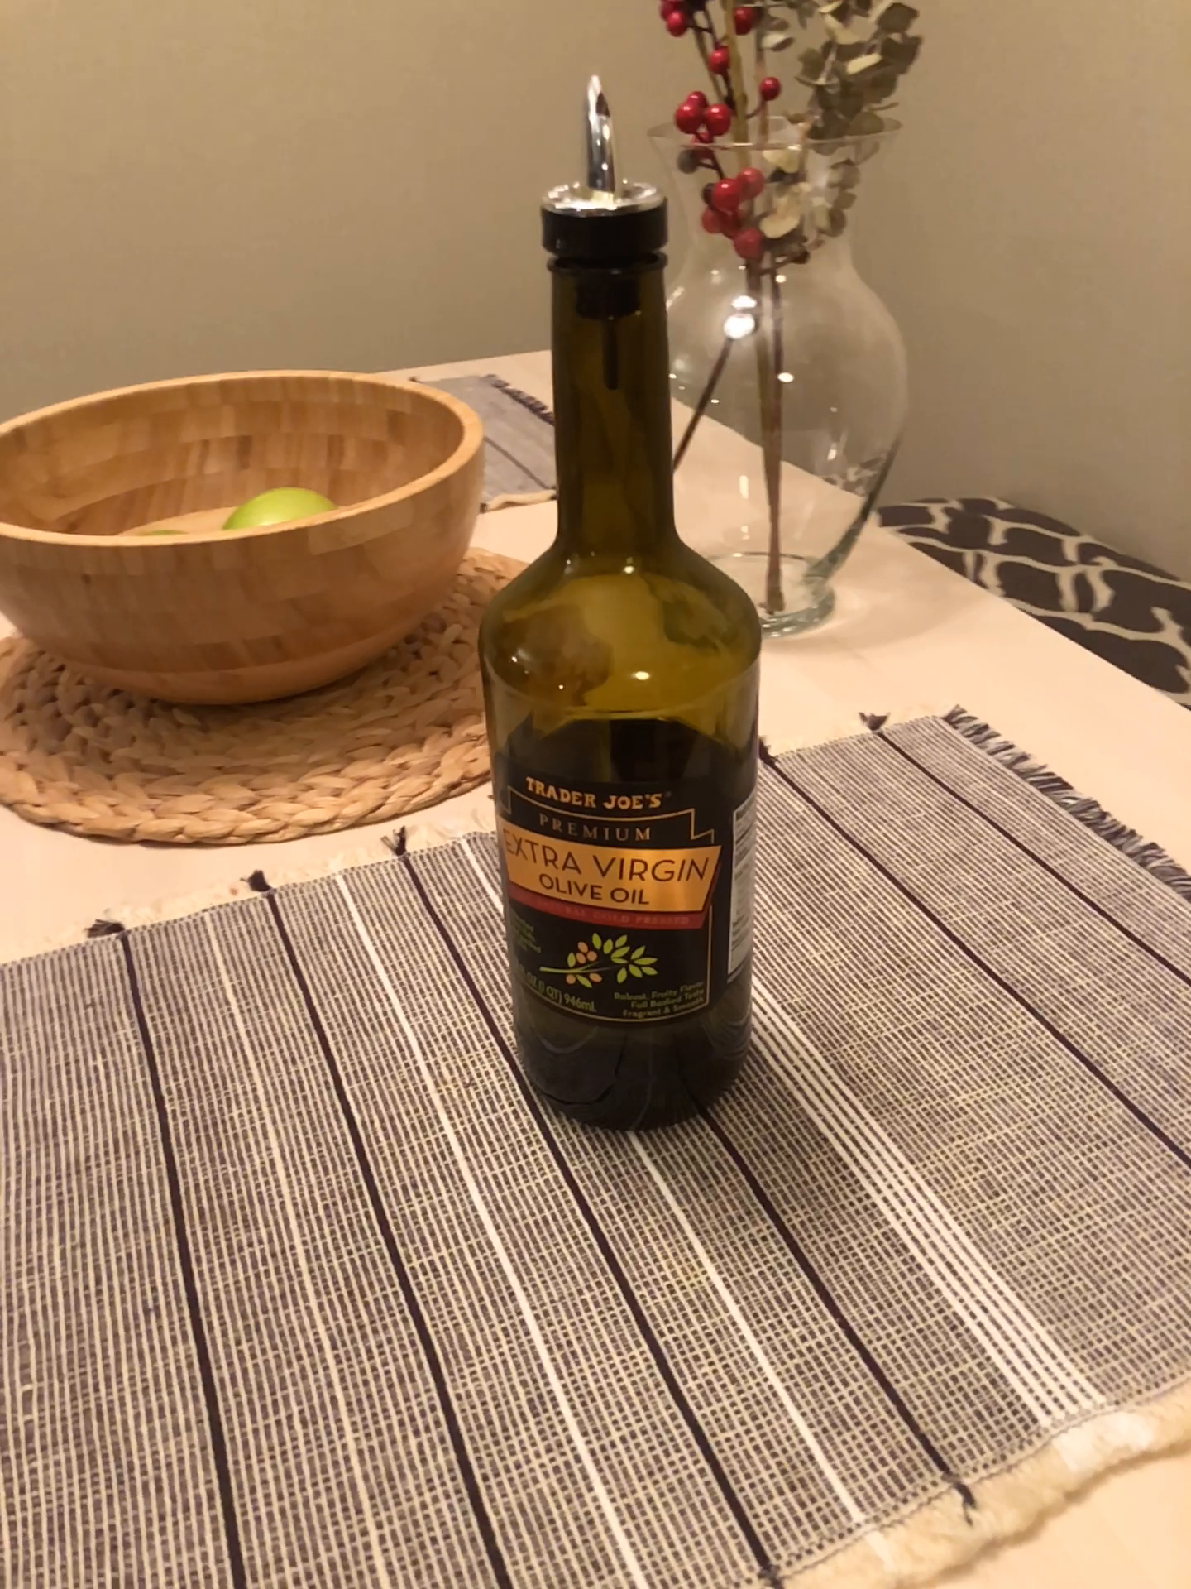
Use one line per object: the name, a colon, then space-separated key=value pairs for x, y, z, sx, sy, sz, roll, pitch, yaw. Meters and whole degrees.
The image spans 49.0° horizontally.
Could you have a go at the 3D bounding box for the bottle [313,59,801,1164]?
bottle: x=0.001 y=-0.041 z=0.390 sx=0.090 sy=0.304 sz=0.095 roll=-2 pitch=31 yaw=1
